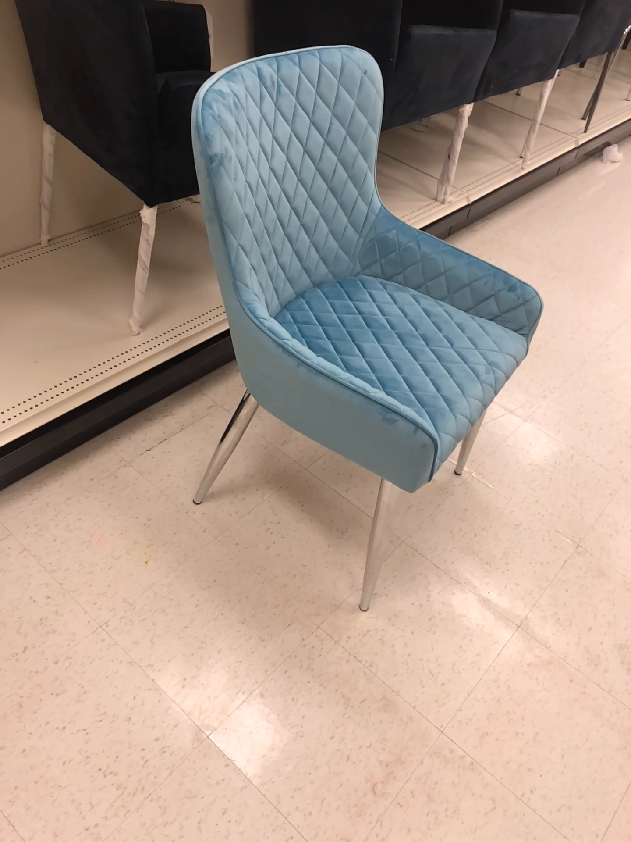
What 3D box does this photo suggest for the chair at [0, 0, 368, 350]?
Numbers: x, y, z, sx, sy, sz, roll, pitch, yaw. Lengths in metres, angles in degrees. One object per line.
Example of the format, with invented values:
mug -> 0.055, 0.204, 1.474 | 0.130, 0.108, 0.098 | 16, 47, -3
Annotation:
chair -> -0.341, -0.722, 1.653 | 0.581, 0.777, 0.561 | -30, 55, -35

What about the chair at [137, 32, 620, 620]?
chair -> 0.076, -0.187, 1.410 | 0.584, 0.871, 0.562 | 29, 46, 20
